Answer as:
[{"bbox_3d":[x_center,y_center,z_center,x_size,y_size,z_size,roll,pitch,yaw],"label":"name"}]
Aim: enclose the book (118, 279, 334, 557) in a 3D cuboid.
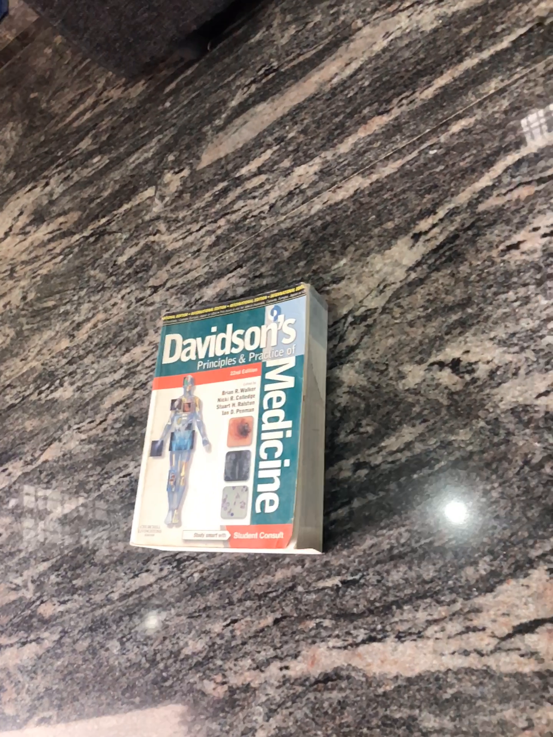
[{"bbox_3d":[-0.049,0.057,0.638,0.201,0.070,0.260,-9,66,29],"label":"book"}]
